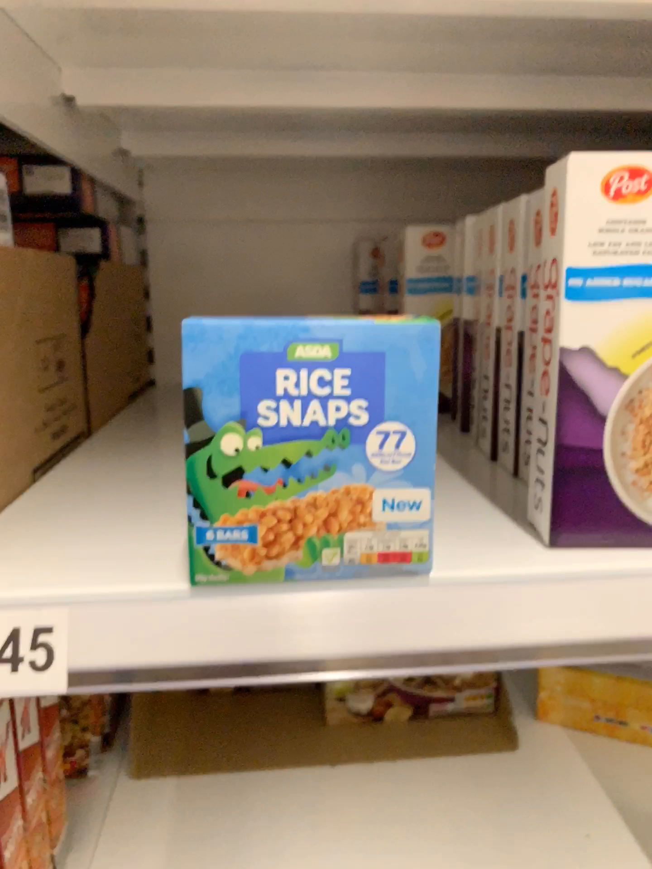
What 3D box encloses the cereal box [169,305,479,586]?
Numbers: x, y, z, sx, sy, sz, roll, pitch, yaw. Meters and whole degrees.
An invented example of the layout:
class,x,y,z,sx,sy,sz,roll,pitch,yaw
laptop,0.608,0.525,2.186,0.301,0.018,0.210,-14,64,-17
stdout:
class,x,y,z,sx,sy,sz,roll,pitch,yaw
cereal box,-0.002,0.002,0.344,0.140,0.129,0.050,-1,11,-7
